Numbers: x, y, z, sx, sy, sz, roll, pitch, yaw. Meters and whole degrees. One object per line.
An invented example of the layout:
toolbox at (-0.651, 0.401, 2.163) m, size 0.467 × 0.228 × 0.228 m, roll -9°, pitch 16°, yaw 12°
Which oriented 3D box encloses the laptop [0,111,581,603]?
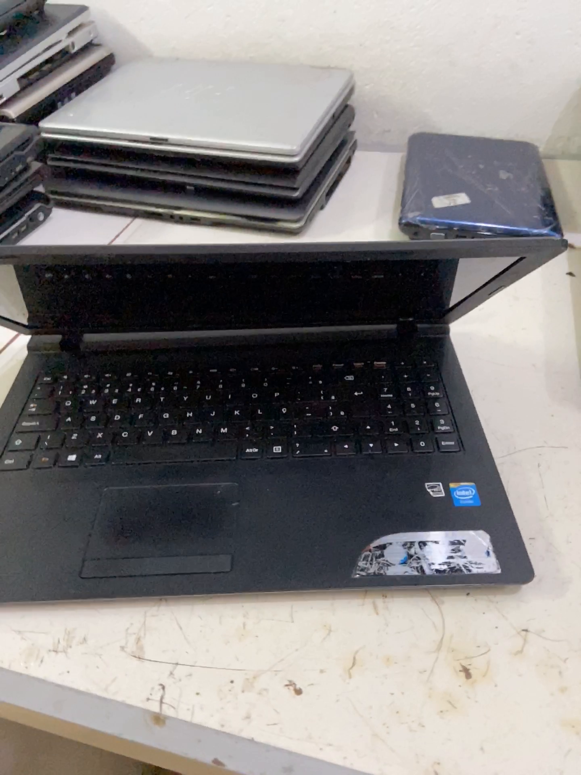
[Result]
laptop at (-0.047, -0.033, 0.392) m, size 0.375 × 0.189 × 0.259 m, roll -2°, pitch 42°, yaw 0°
